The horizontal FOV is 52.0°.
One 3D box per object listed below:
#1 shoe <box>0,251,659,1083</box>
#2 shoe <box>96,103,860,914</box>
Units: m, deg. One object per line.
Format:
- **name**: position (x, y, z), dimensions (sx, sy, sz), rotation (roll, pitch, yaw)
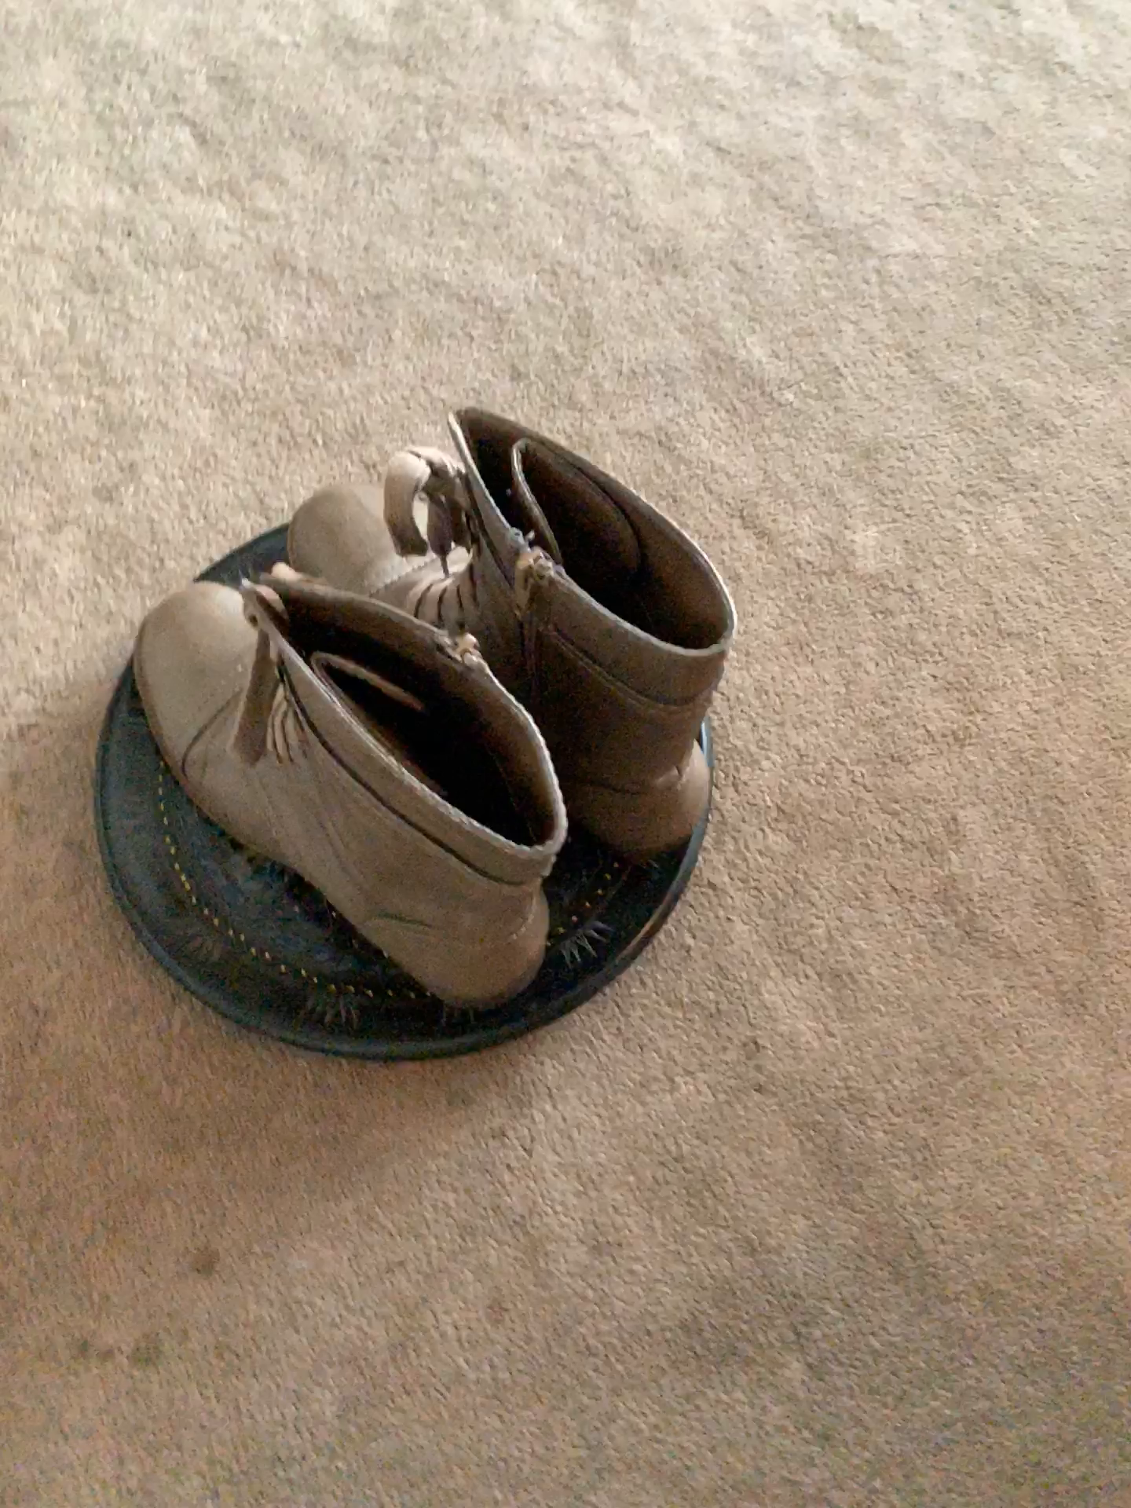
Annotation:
- **shoe**: position (-0.106, -0.019, 0.455), dimensions (0.100, 0.199, 0.270), rotation (-42, 74, -17)
- **shoe**: position (-0.039, -0.088, 0.483), dimensions (0.100, 0.199, 0.270), rotation (-42, 74, -17)
